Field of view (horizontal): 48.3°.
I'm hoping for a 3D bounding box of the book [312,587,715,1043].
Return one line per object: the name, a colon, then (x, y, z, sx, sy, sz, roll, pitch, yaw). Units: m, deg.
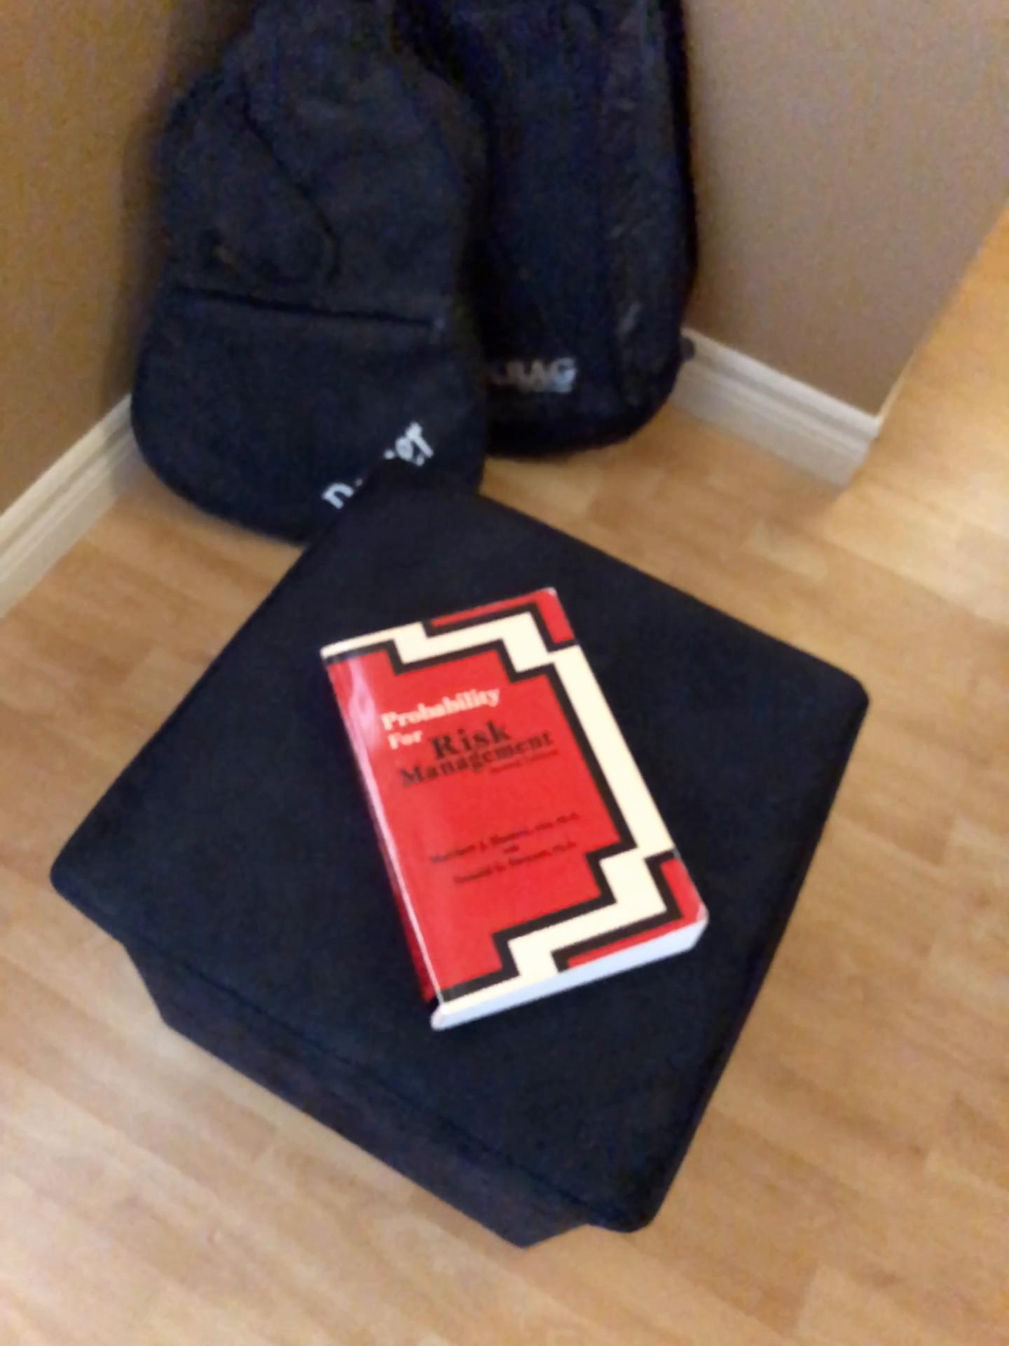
book: (-0.003, 0.067, 0.611, 0.150, 0.042, 0.215, -14, 63, -16)
